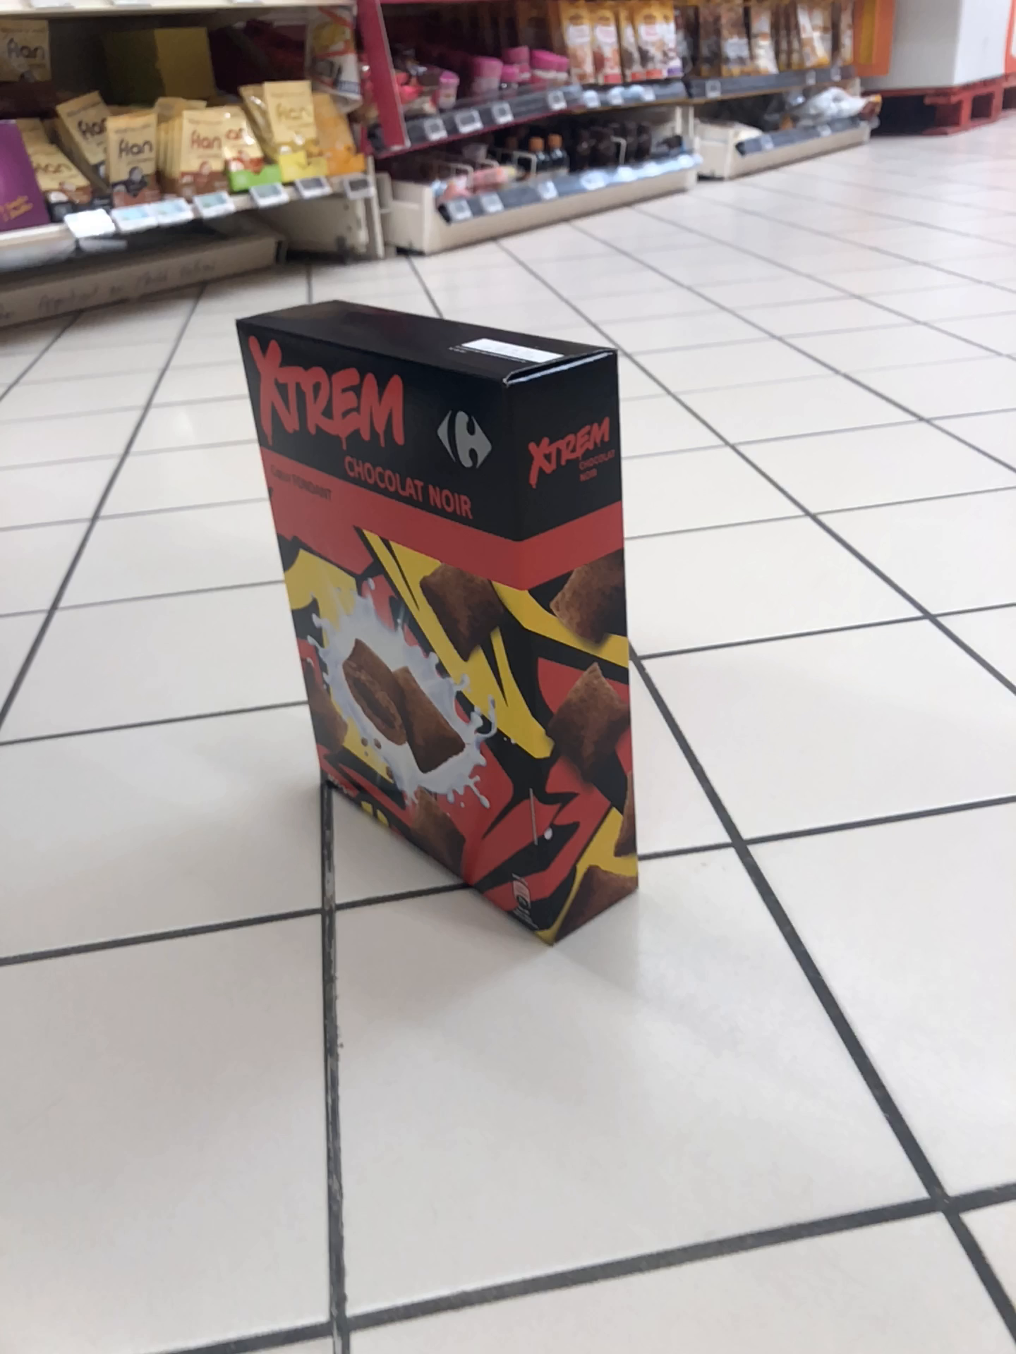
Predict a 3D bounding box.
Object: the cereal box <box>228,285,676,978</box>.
[{"bbox_3d":[-0.024,-0.030,0.499,0.070,0.249,0.200,-24,33,-32],"label":"cereal box"}]
